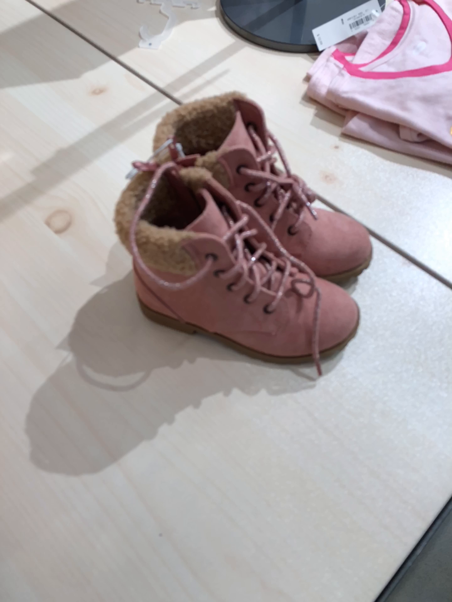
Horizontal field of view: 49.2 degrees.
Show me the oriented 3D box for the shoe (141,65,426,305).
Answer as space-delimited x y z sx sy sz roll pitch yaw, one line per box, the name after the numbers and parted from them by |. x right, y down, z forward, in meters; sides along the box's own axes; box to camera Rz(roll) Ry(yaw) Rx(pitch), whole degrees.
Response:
0.038 -0.078 0.351 0.160 0.120 0.080 12 60 8 | shoe

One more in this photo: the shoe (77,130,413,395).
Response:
0.014 -0.019 0.307 0.160 0.120 0.080 12 60 8 | shoe
